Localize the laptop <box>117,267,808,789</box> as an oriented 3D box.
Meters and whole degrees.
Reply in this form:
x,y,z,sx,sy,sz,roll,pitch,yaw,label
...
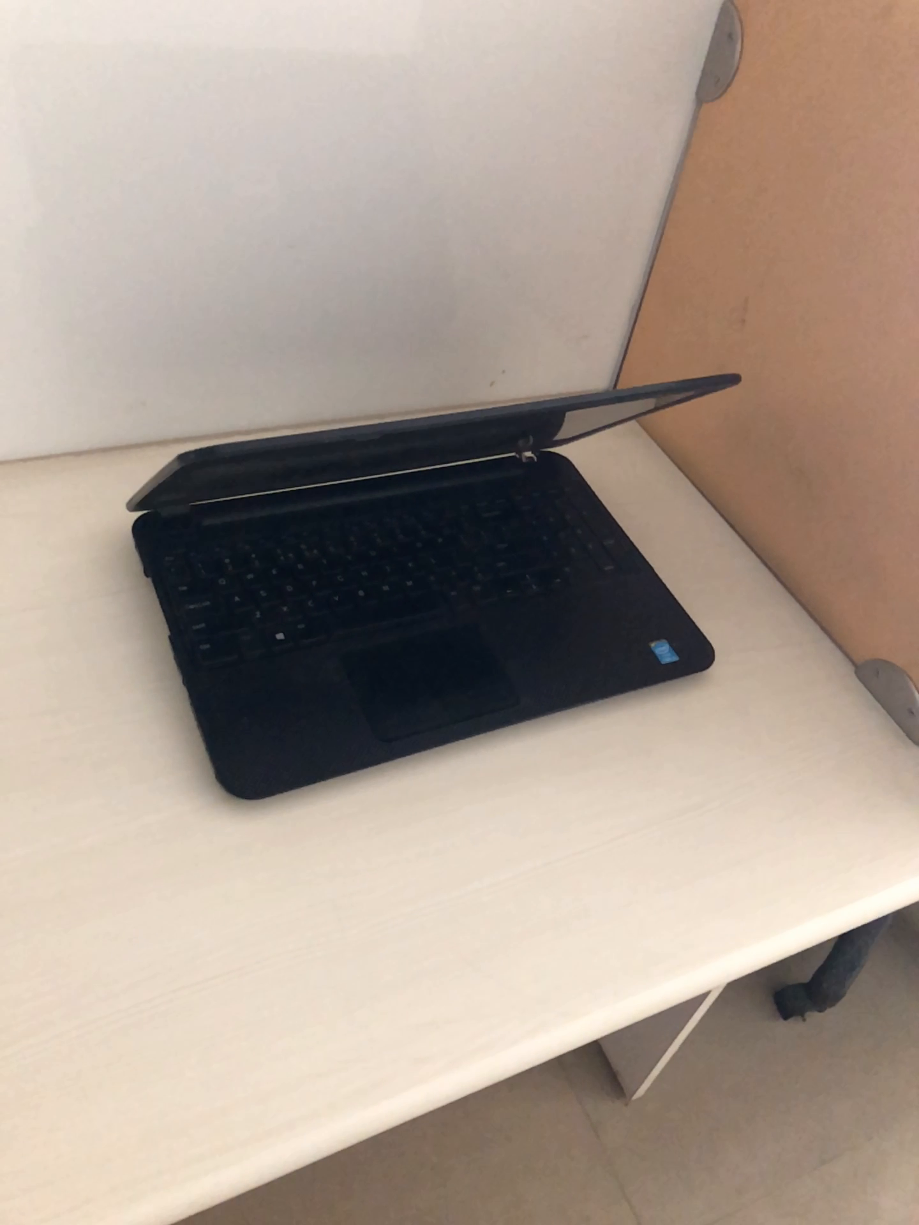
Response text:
x,y,z,sx,sy,sz,roll,pitch,yaw,label
-0.010,-0.080,0.686,0.365,0.177,0.248,-12,51,-26,laptop
